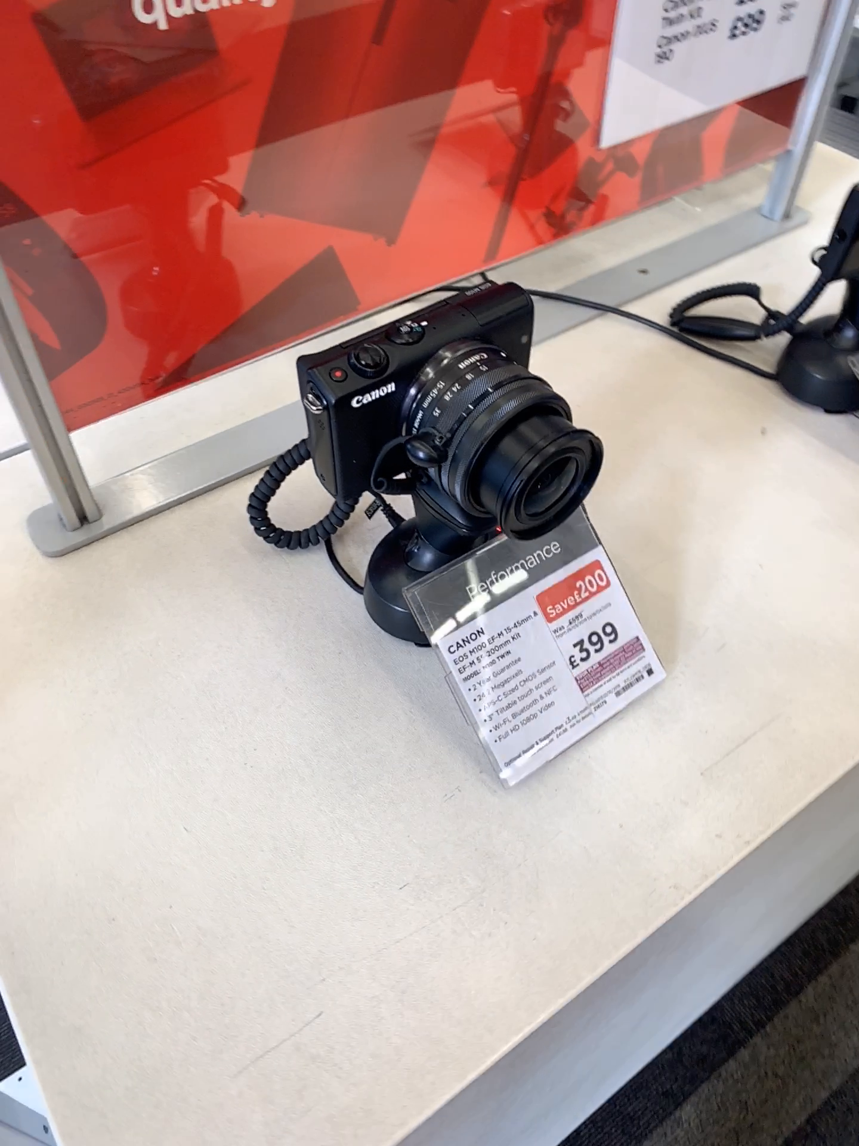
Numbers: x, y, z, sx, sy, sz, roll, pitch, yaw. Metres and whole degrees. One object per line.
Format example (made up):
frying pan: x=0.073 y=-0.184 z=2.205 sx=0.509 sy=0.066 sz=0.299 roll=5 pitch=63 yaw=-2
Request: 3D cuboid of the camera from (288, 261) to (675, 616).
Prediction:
camera: x=0.021 y=-0.063 z=0.382 sx=0.120 sy=0.069 sz=0.101 roll=-30 pitch=56 yaw=-24
